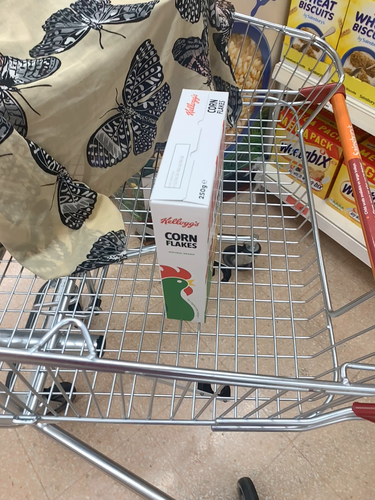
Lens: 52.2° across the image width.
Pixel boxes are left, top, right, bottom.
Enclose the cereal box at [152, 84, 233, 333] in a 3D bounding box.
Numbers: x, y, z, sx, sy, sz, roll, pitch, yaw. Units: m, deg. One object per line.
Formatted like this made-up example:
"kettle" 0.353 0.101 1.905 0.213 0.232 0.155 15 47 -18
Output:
"cereal box" 0.011 -0.044 0.487 0.060 0.238 0.202 6 52 4
